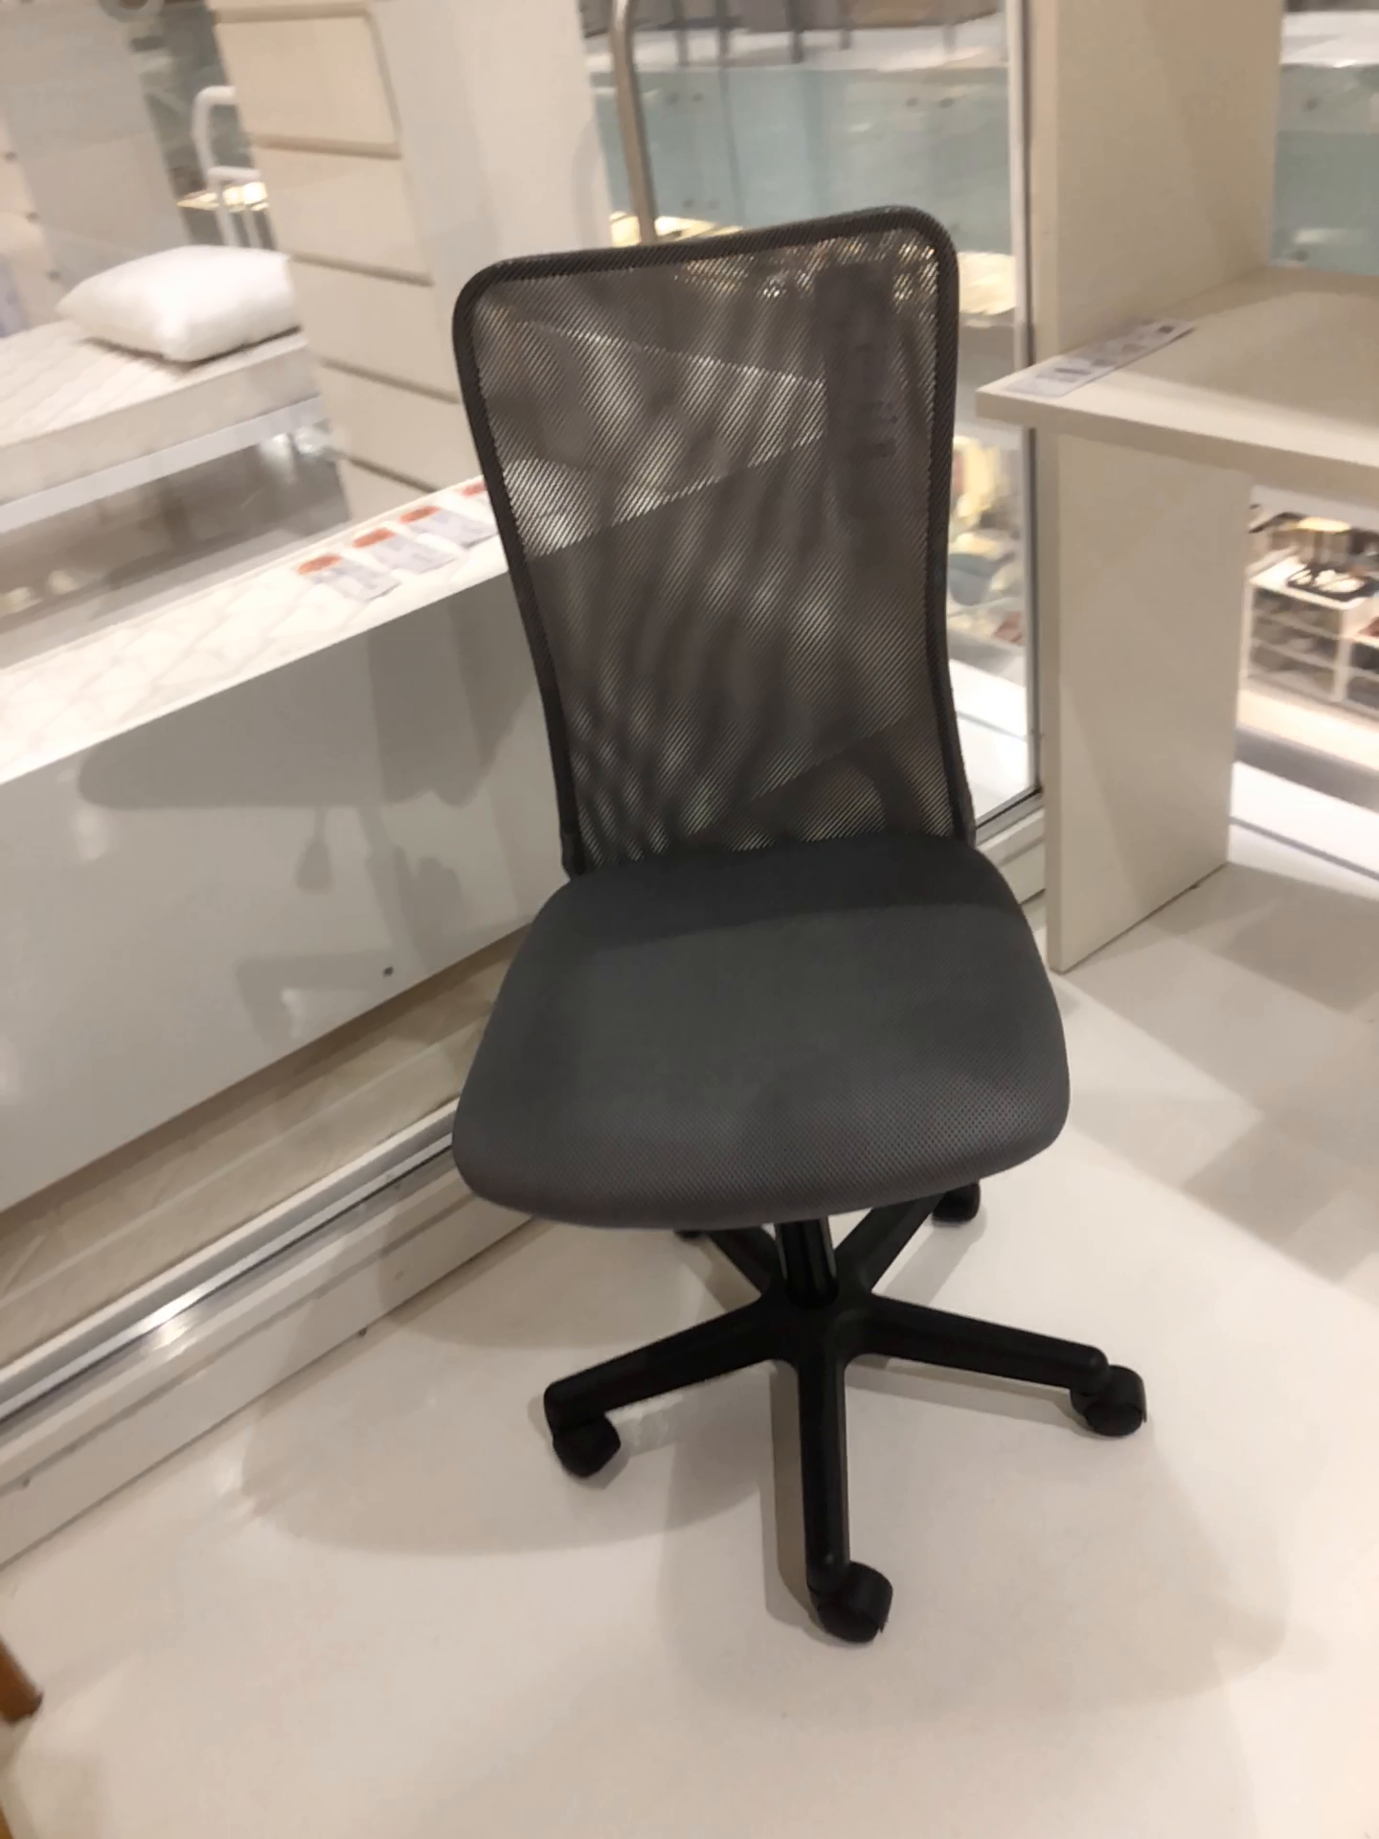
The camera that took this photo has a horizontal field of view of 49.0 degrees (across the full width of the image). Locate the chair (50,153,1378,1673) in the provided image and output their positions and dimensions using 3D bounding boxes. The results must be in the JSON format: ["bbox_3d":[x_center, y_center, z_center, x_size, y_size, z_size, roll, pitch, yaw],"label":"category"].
[{"bbox_3d":[0.075,0.019,1.163,0.580,0.932,0.605,-6,35,6],"label":"chair"}]
